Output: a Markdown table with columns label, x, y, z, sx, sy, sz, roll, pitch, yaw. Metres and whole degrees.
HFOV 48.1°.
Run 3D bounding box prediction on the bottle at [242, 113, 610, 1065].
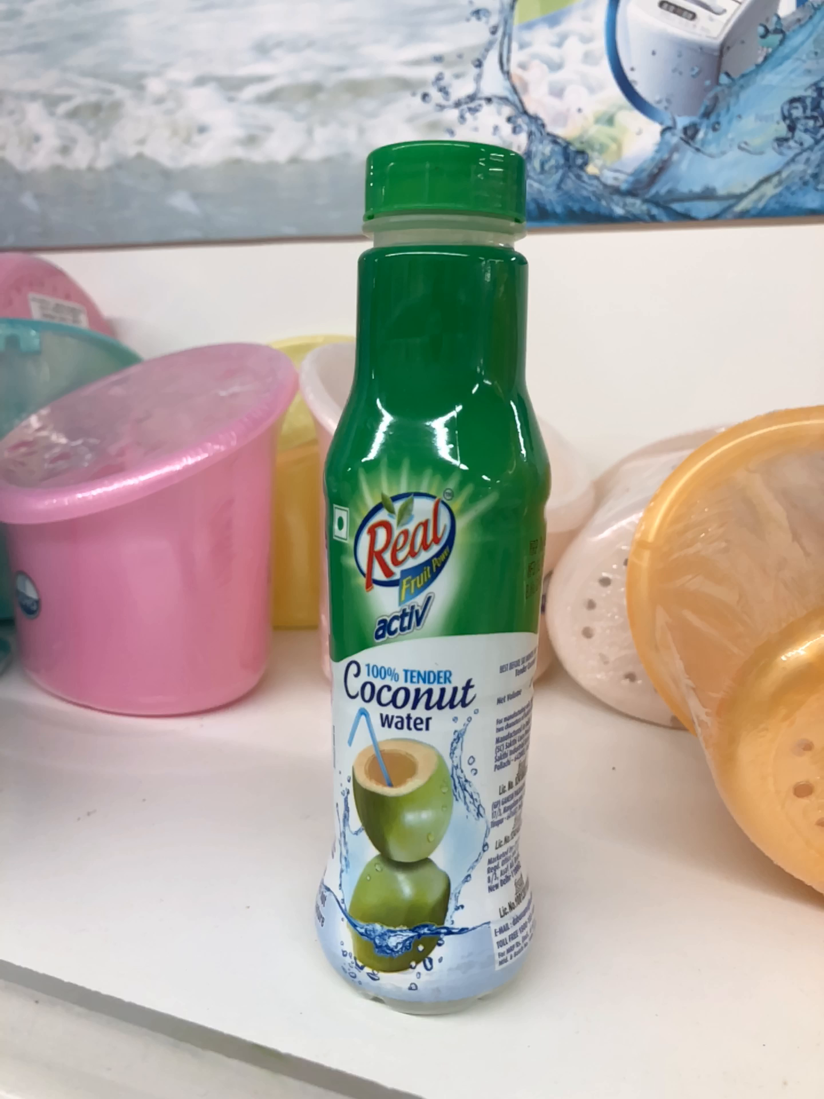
| label | x | y | z | sx | sy | sz | roll | pitch | yaw |
| --- | --- | --- | --- | --- | --- | --- | --- | --- | --- |
| bottle | 0.005 | 0.008 | 0.205 | 0.060 | 0.179 | 0.060 | 1 | 12 | 0 |
